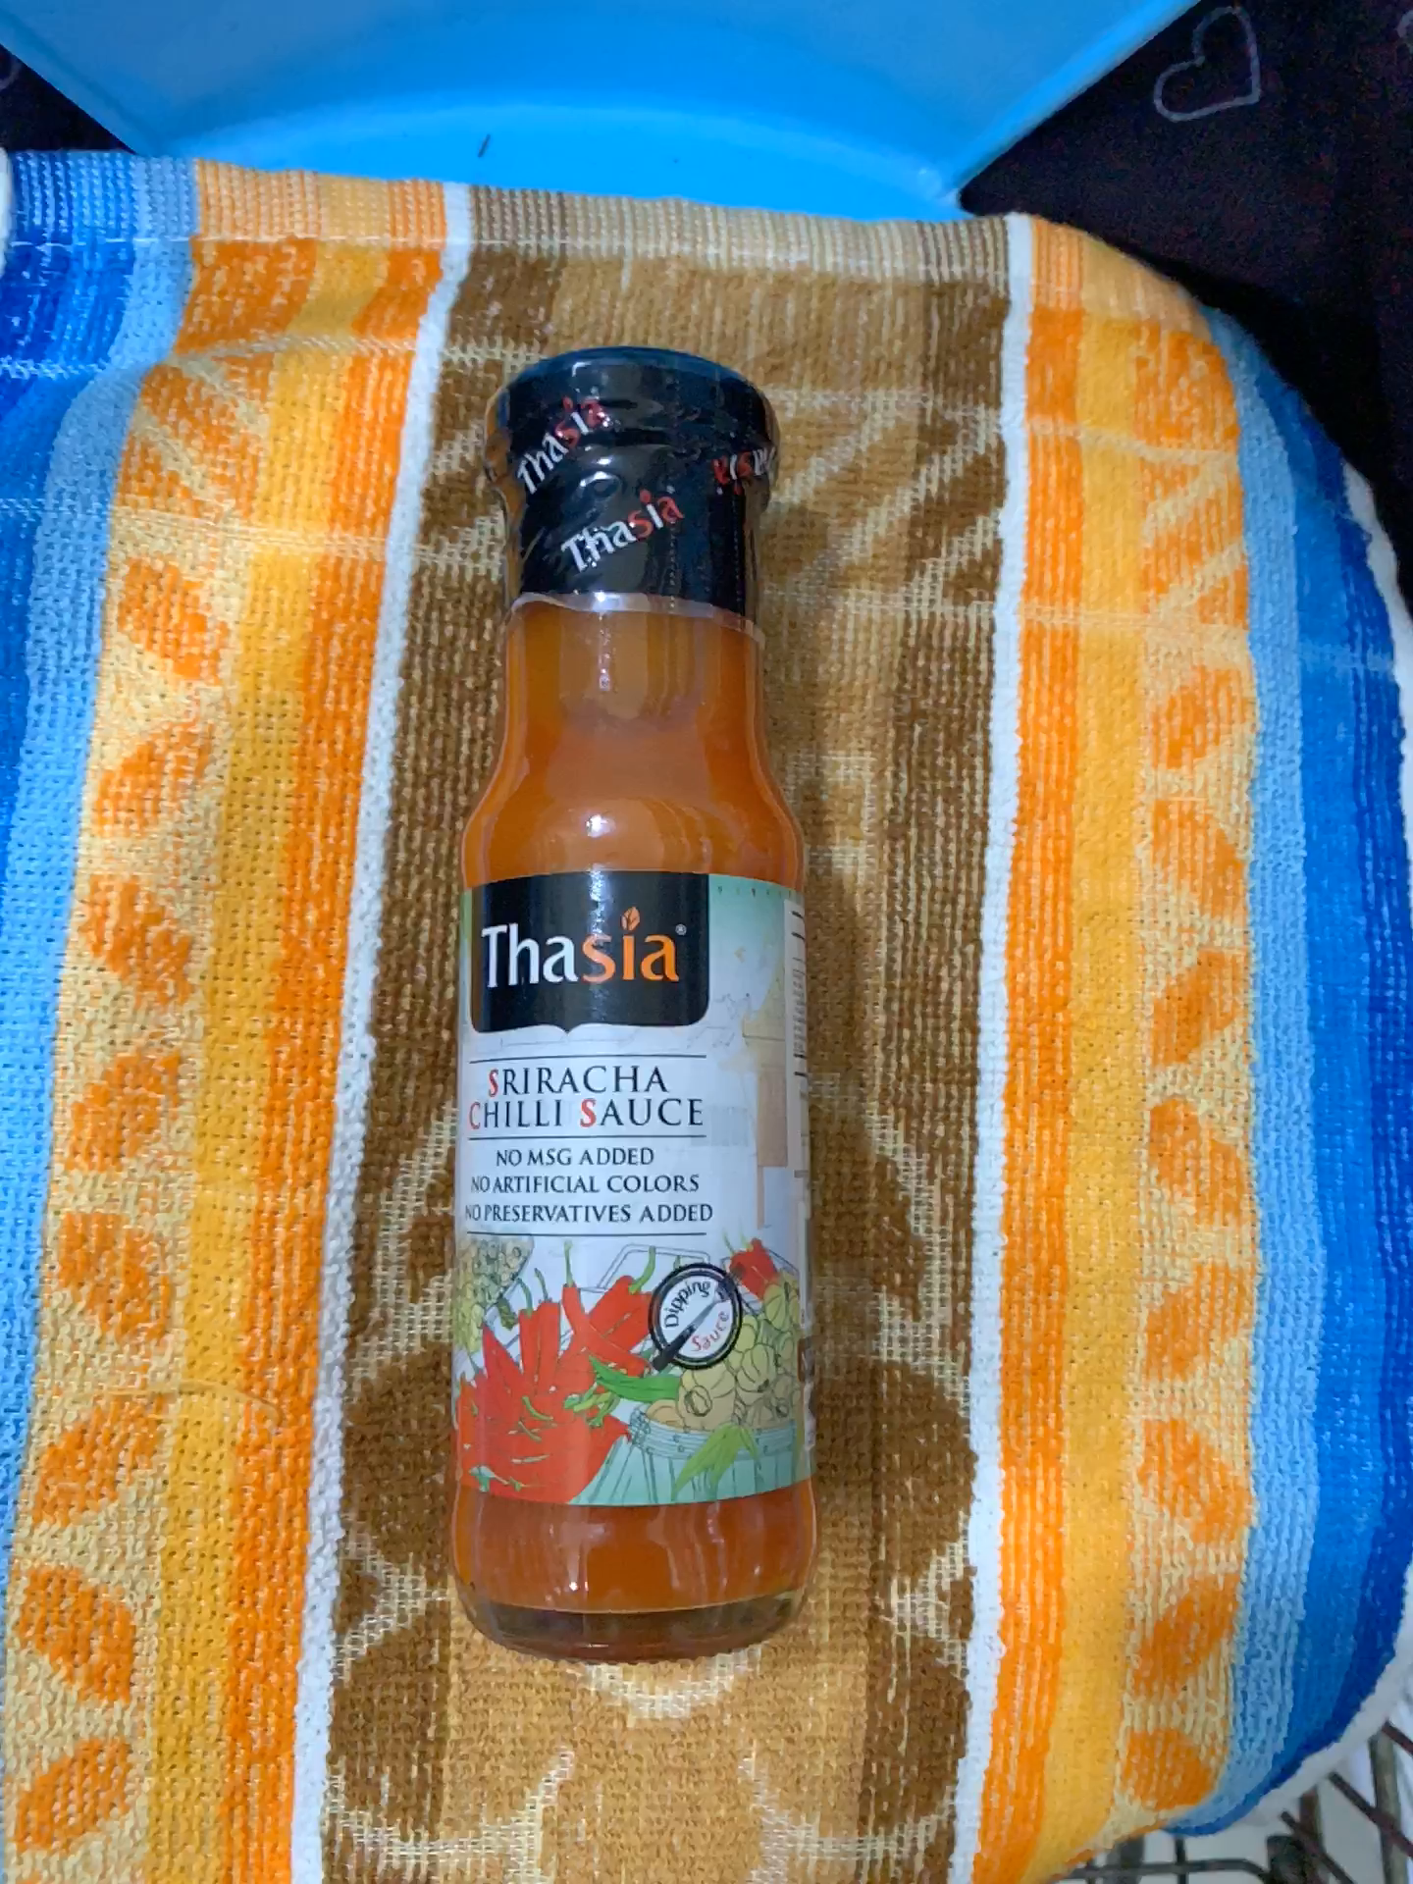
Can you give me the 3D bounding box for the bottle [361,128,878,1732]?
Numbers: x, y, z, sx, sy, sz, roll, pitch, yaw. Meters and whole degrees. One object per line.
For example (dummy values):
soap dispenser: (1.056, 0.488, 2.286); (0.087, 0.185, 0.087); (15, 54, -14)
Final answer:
bottle: (-0.007, -0.005, 0.190); (0.050, 0.050, 0.180); (-2, 78, 10)
